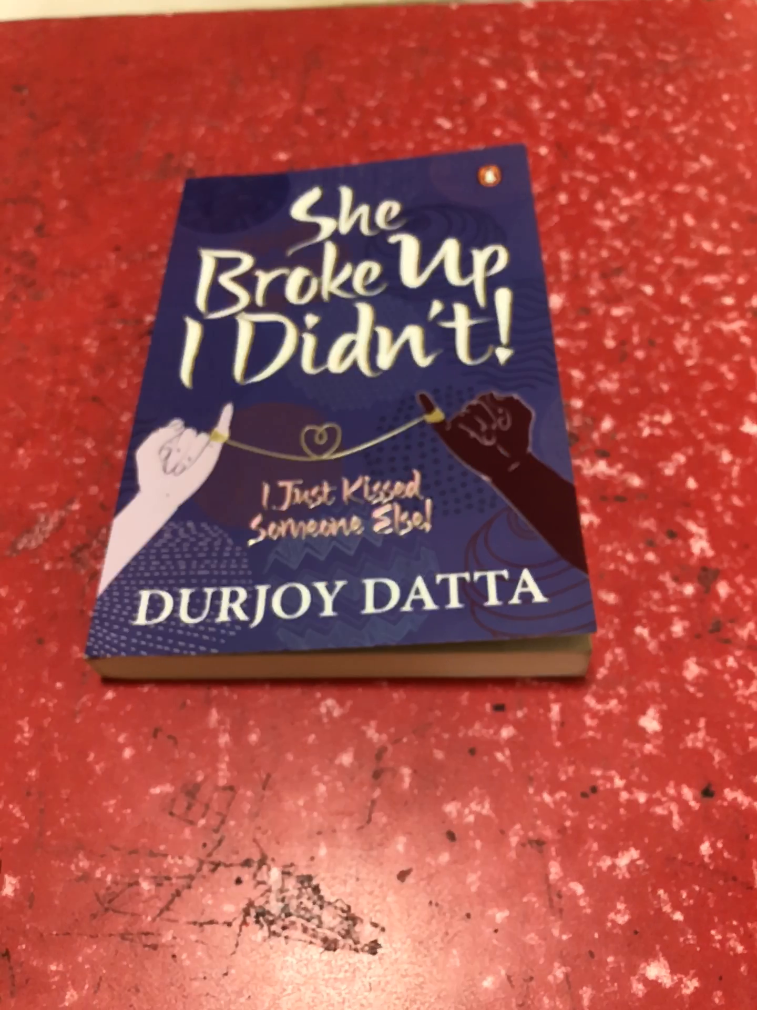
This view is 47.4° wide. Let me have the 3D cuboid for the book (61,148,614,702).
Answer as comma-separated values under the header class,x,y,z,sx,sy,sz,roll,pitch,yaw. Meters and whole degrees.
class,x,y,z,sx,sy,sz,roll,pitch,yaw
book,-0.009,-0.036,0.272,0.130,0.040,0.190,-1,55,3
